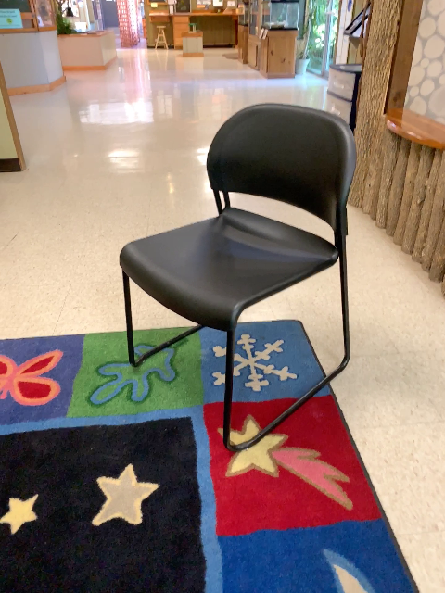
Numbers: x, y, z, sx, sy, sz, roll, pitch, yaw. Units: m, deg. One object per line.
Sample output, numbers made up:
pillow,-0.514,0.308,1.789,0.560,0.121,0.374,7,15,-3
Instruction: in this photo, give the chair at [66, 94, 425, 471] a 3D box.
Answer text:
chair,0.051,-0.117,1.299,0.631,0.735,0.613,-25,38,-34
